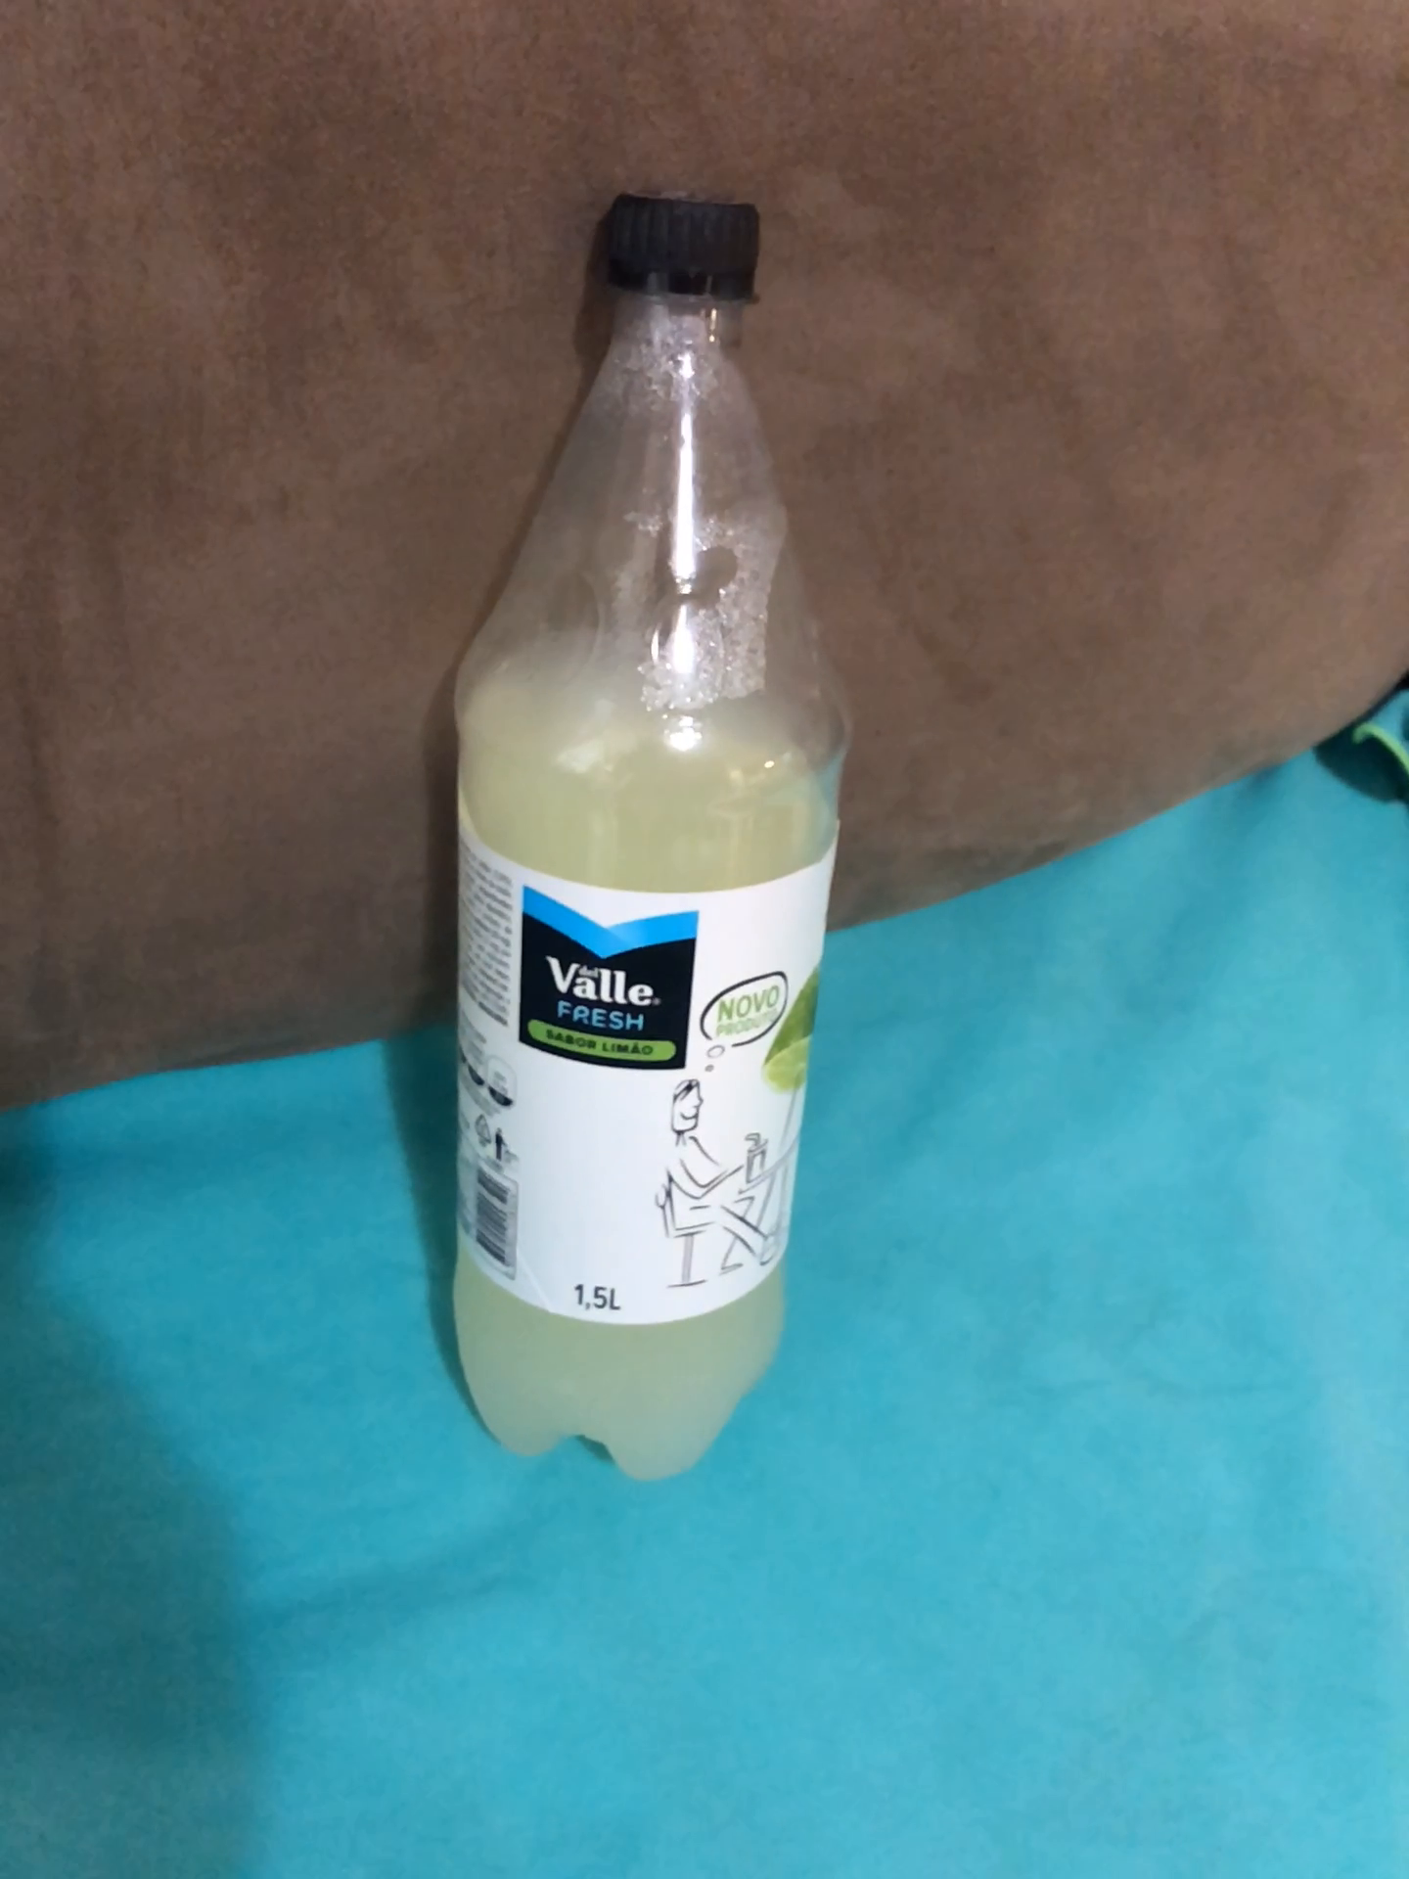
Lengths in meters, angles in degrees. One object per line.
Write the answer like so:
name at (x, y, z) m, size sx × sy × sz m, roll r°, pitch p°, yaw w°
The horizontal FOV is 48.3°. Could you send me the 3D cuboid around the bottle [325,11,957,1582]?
bottle at (-0.014, -0.025, 0.383) m, size 0.100 × 0.329 × 0.100 m, roll -1°, pitch 19°, yaw 0°
